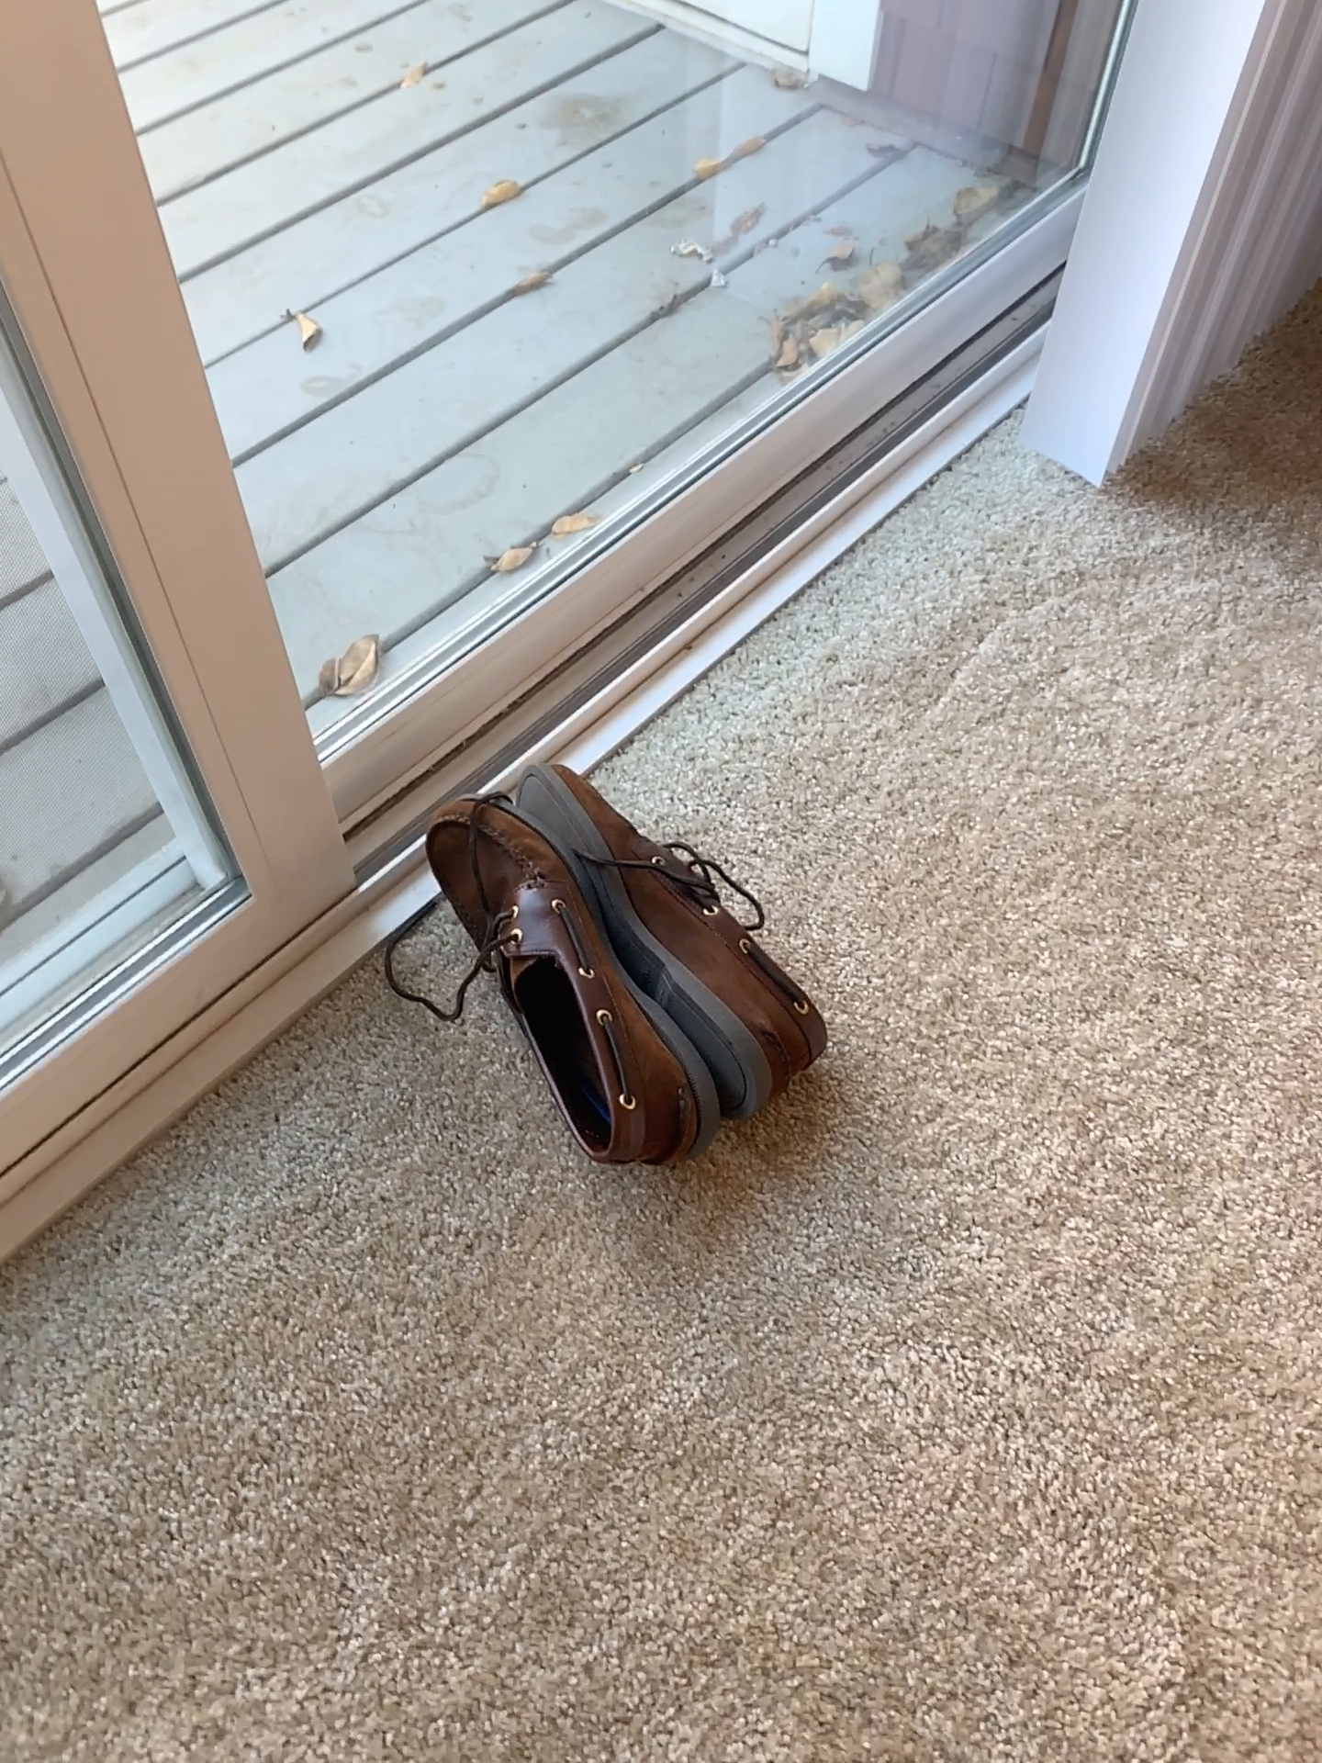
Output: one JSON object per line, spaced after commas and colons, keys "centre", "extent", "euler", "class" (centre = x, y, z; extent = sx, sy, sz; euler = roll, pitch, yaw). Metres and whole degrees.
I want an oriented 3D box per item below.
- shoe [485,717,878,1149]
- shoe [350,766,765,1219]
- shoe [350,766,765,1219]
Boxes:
{"centre": [0.003, 0.027, 0.894], "extent": [0.090, 0.110, 0.271], "euler": [-26, 58, -32], "class": "shoe"}
{"centre": [-0.077, 0.061, 0.868], "extent": [0.090, 0.110, 0.281], "euler": [-21, 55, -40], "class": "shoe"}
{"centre": [-0.077, 0.061, 0.868], "extent": [0.090, 0.110, 0.281], "euler": [-21, 55, -40], "class": "shoe"}
